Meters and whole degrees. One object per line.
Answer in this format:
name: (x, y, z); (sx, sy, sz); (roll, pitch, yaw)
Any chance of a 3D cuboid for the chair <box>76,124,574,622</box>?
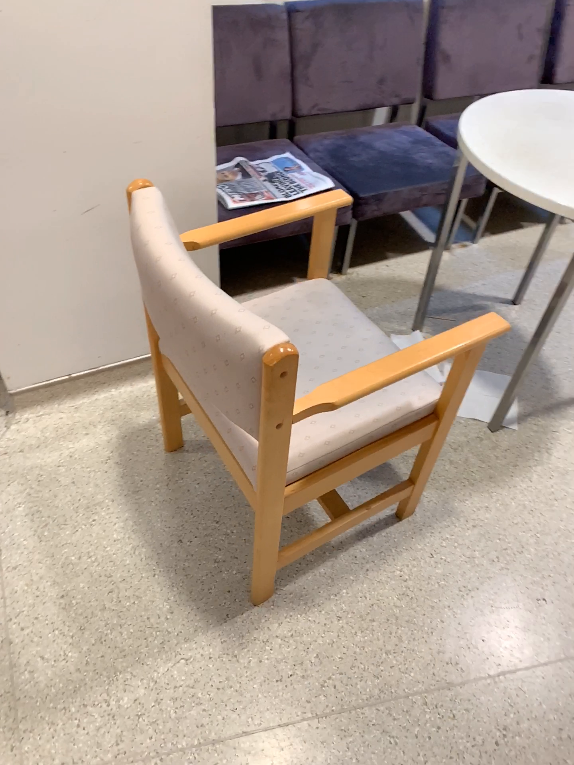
chair: (0.028, -0.056, 1.236); (0.632, 0.634, 0.634); (-22, 51, -24)
